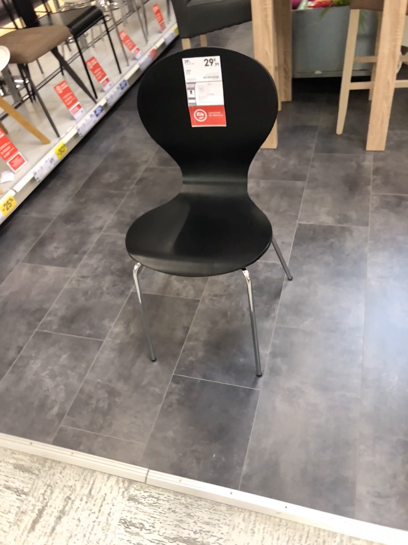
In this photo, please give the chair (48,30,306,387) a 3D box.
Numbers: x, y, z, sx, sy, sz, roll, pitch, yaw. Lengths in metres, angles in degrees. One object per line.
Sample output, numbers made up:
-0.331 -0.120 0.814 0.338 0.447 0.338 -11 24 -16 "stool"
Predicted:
0.028 -0.152 1.363 0.490 0.895 0.503 5 45 16 "chair"
